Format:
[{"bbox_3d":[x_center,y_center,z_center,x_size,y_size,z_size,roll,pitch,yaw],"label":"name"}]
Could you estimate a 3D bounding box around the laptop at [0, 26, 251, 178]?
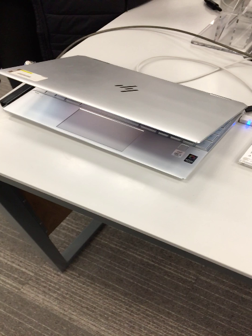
[{"bbox_3d":[-0.004,-0.117,0.513,0.314,0.080,0.184,25,56,21],"label":"laptop"}]
